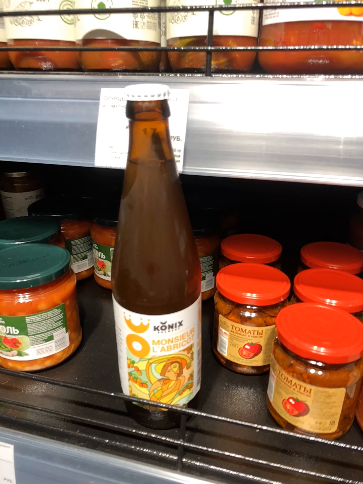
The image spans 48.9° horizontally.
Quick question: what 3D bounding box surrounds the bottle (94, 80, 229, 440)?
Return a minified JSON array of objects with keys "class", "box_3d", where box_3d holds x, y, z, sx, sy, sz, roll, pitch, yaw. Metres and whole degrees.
[{"class":"bottle","box_3d":[-0.014,0.019,0.287,0.070,0.249,0.070,0,24,0]}]
